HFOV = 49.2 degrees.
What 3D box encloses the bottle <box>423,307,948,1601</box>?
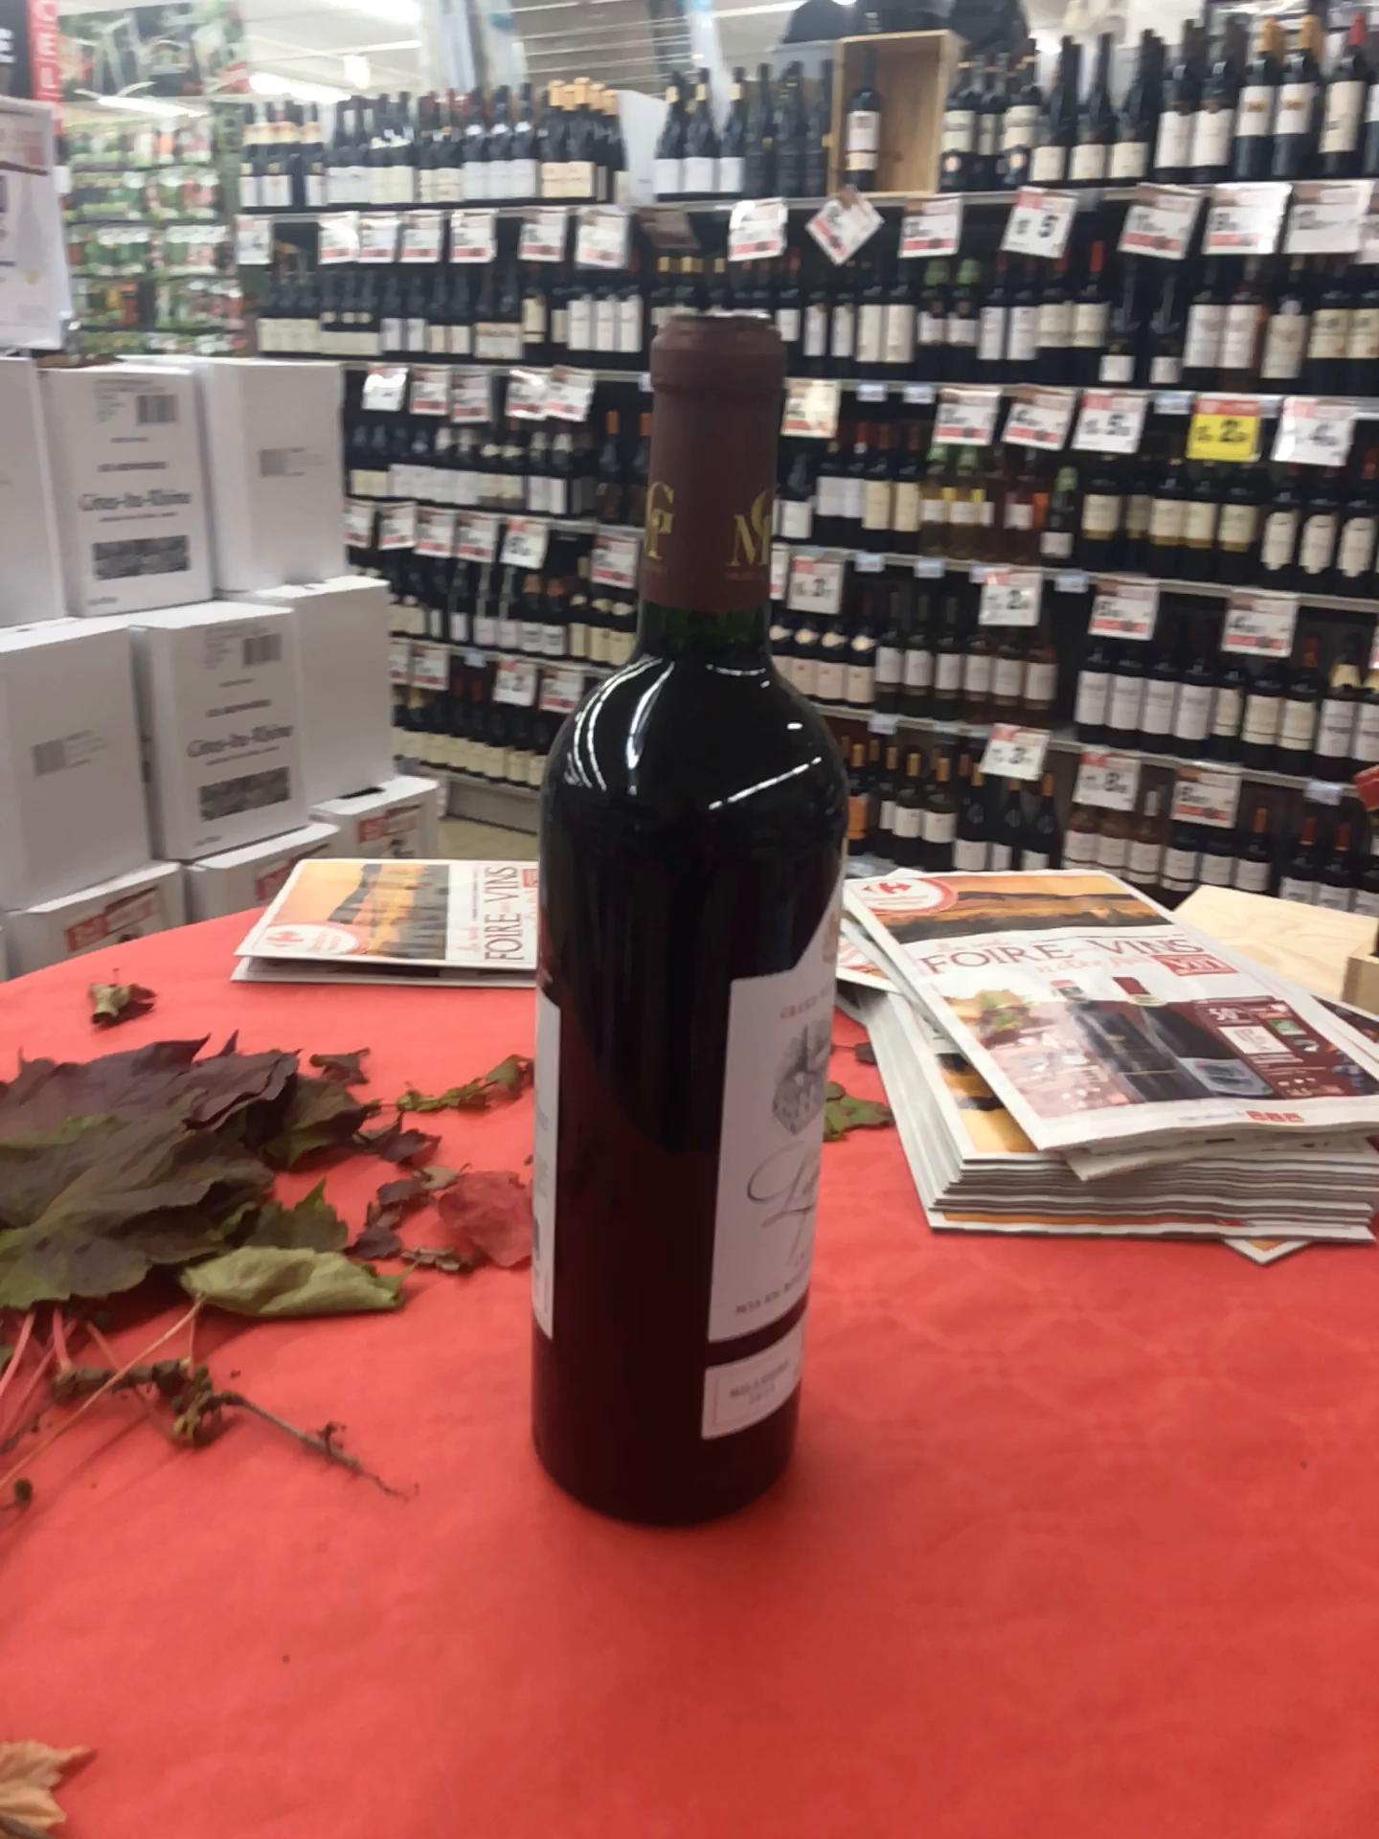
[{"bbox_3d":[0.000,0.009,0.380,0.090,0.299,0.091,1,20,0],"label":"bottle"}]
